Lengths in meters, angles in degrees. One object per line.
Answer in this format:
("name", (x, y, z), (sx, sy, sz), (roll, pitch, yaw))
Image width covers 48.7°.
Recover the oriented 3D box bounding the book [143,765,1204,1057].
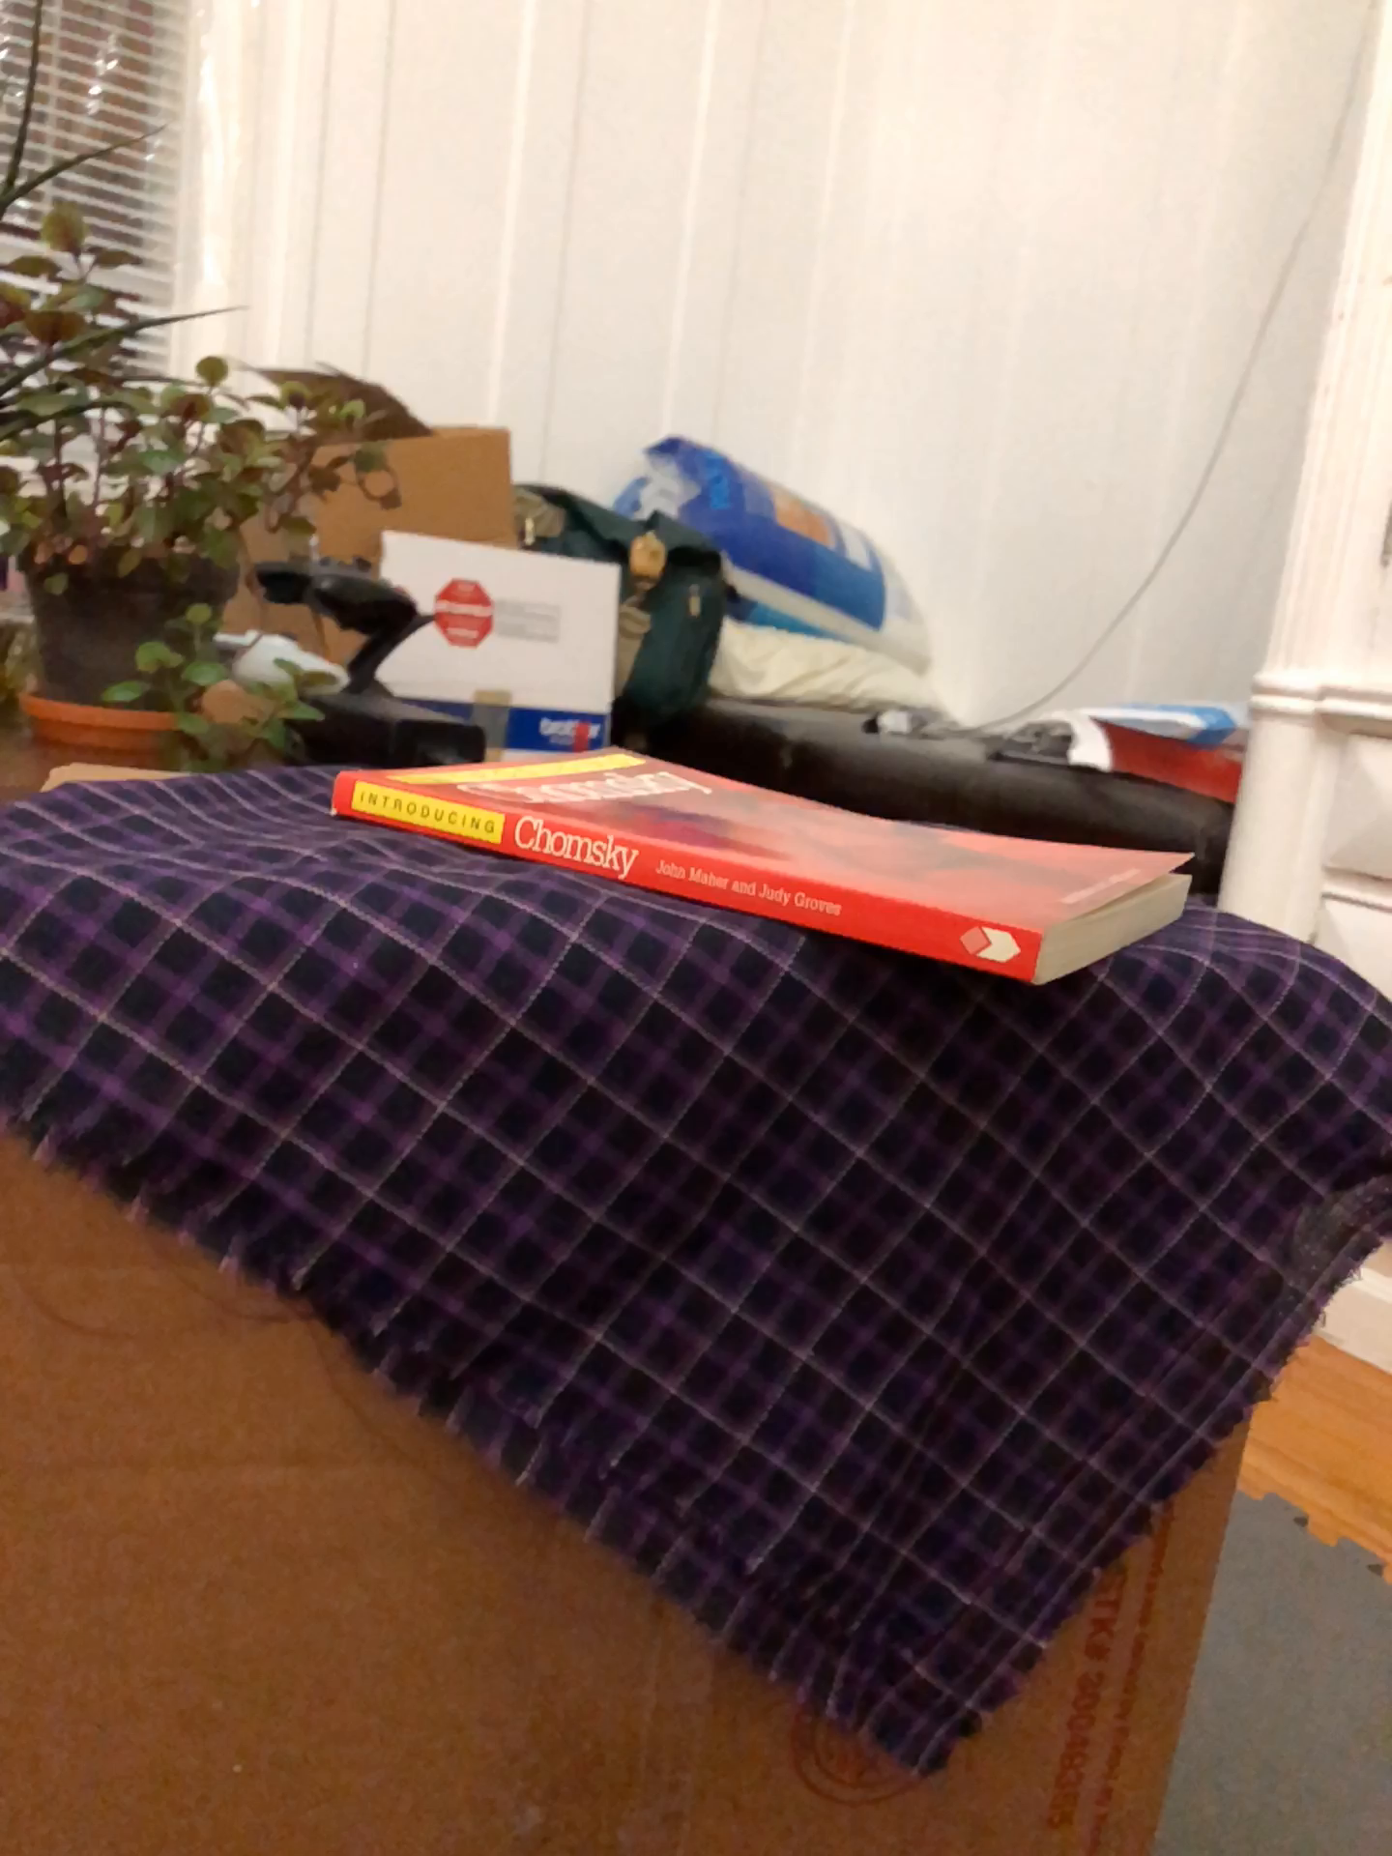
("book", (0.001, -0.017, 0.433), (0.240, 0.020, 0.180), (13, 12, 27))
